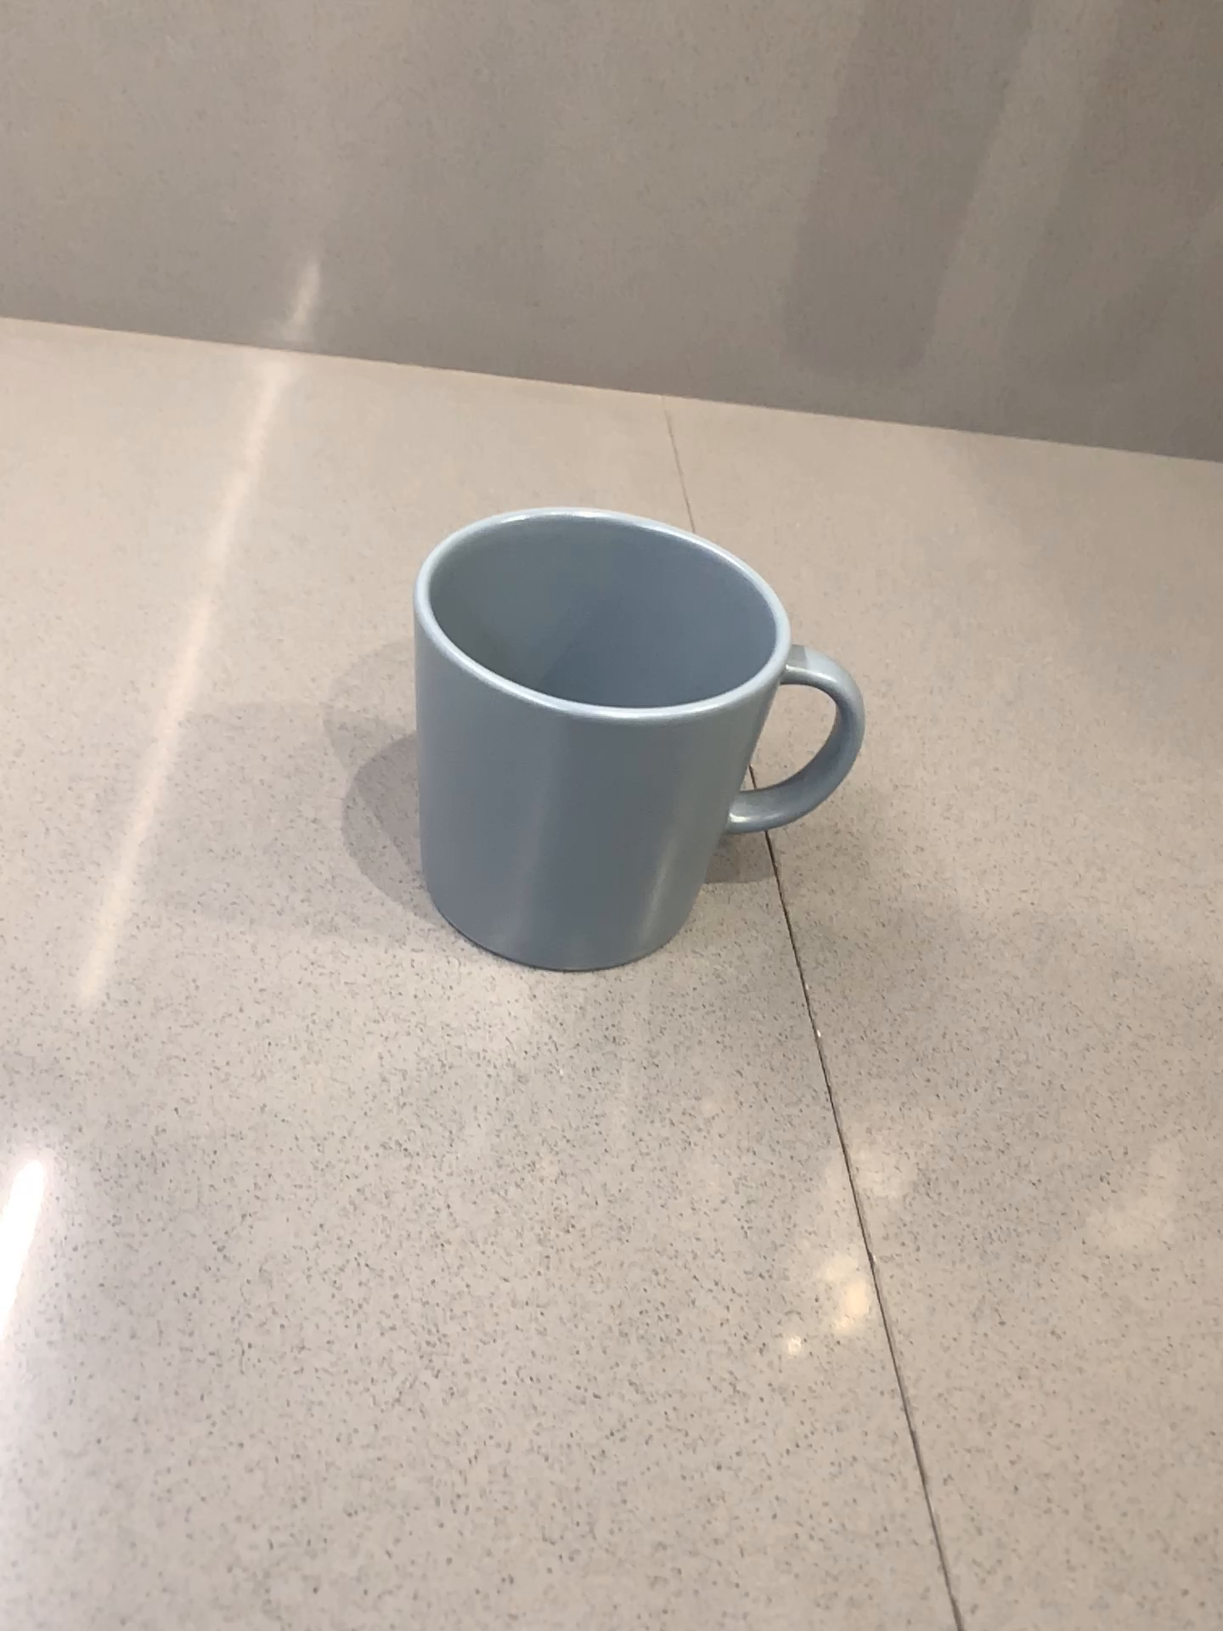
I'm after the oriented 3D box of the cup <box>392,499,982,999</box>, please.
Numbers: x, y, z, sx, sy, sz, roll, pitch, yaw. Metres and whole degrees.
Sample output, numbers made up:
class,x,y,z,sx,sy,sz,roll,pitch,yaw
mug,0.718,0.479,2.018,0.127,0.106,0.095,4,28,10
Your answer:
class,x,y,z,sx,sy,sz,roll,pitch,yaw
cup,0.010,-0.017,0.341,0.130,0.090,0.090,4,41,-9
